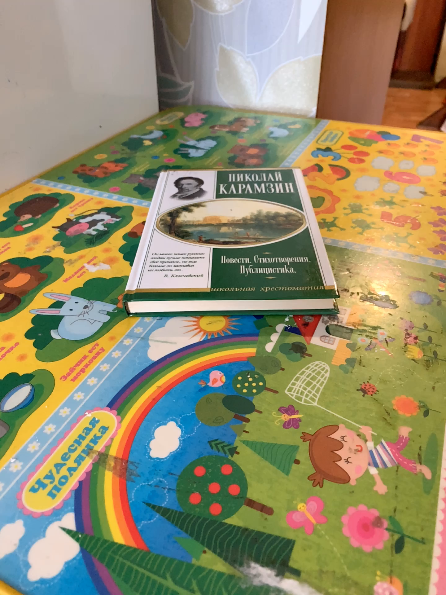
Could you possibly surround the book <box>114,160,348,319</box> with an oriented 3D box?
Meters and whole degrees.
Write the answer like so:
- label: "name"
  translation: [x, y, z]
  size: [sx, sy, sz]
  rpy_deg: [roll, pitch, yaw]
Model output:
- label: "book"
  translation: [0.006, -0.056, 0.354]
  size: [0.136, 0.020, 0.198]
  rpy_deg: [-1, 38, 2]
